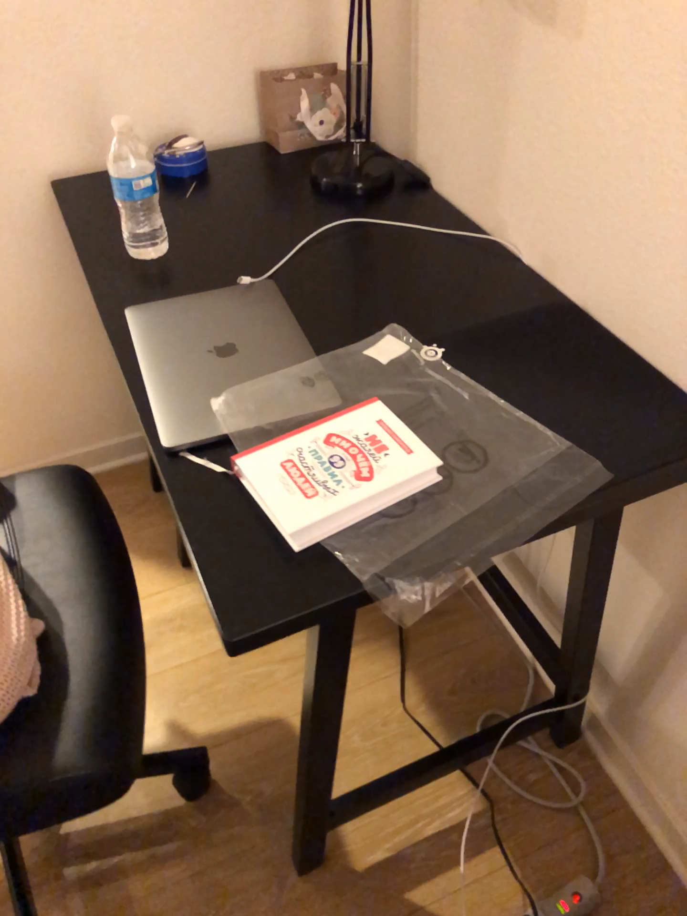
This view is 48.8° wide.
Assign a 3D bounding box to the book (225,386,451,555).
[{"bbox_3d":[-0.006,0.006,0.800,0.190,0.030,0.140,-25,48,-22],"label":"book"}]
